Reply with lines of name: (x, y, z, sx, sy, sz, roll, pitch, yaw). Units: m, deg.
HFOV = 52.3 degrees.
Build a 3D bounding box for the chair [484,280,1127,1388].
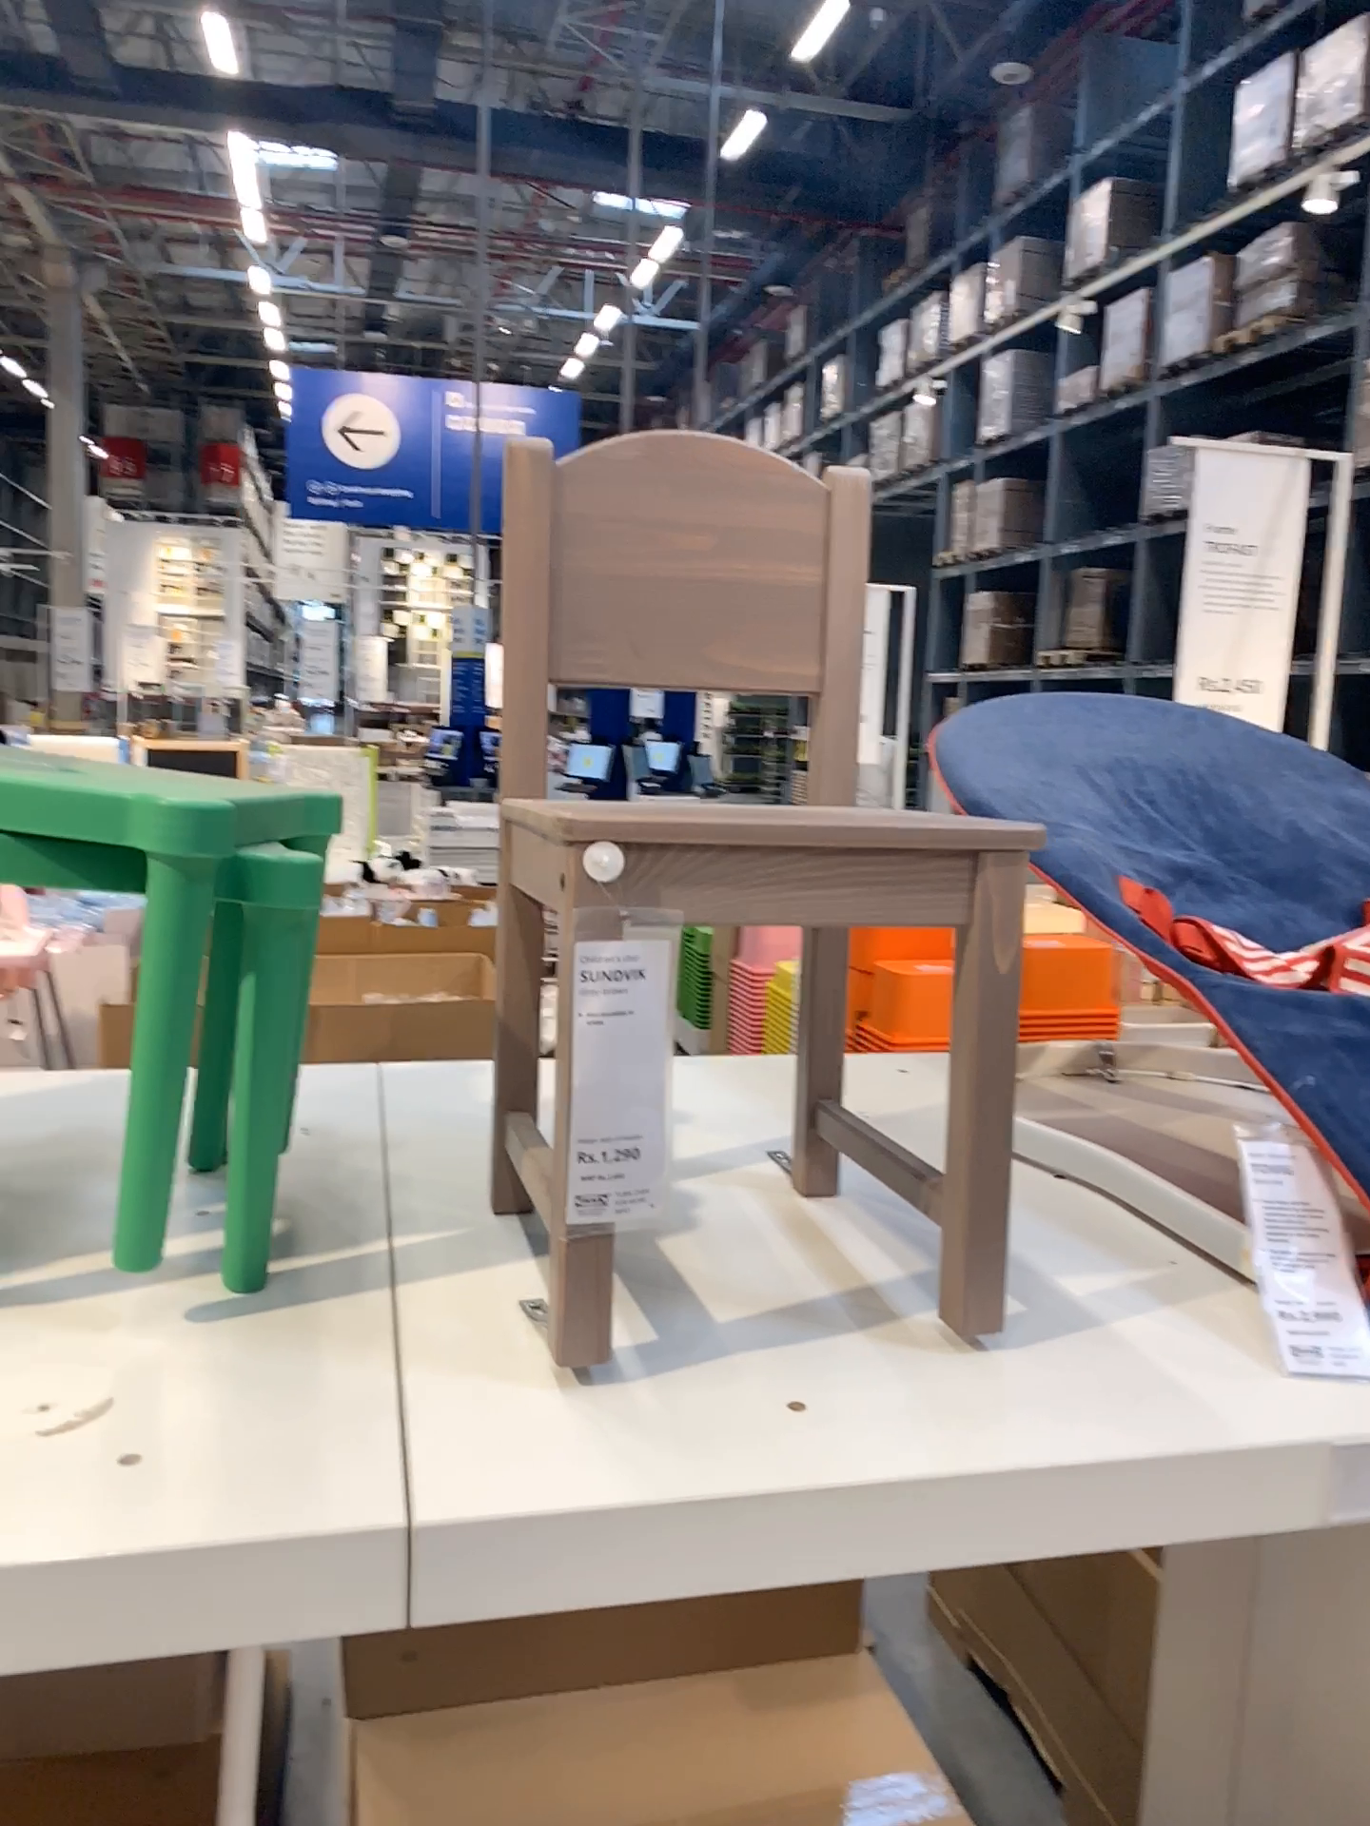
chair: (0.037, -0.048, 0.840, 0.270, 0.519, 0.321, 0, 8, -15)
